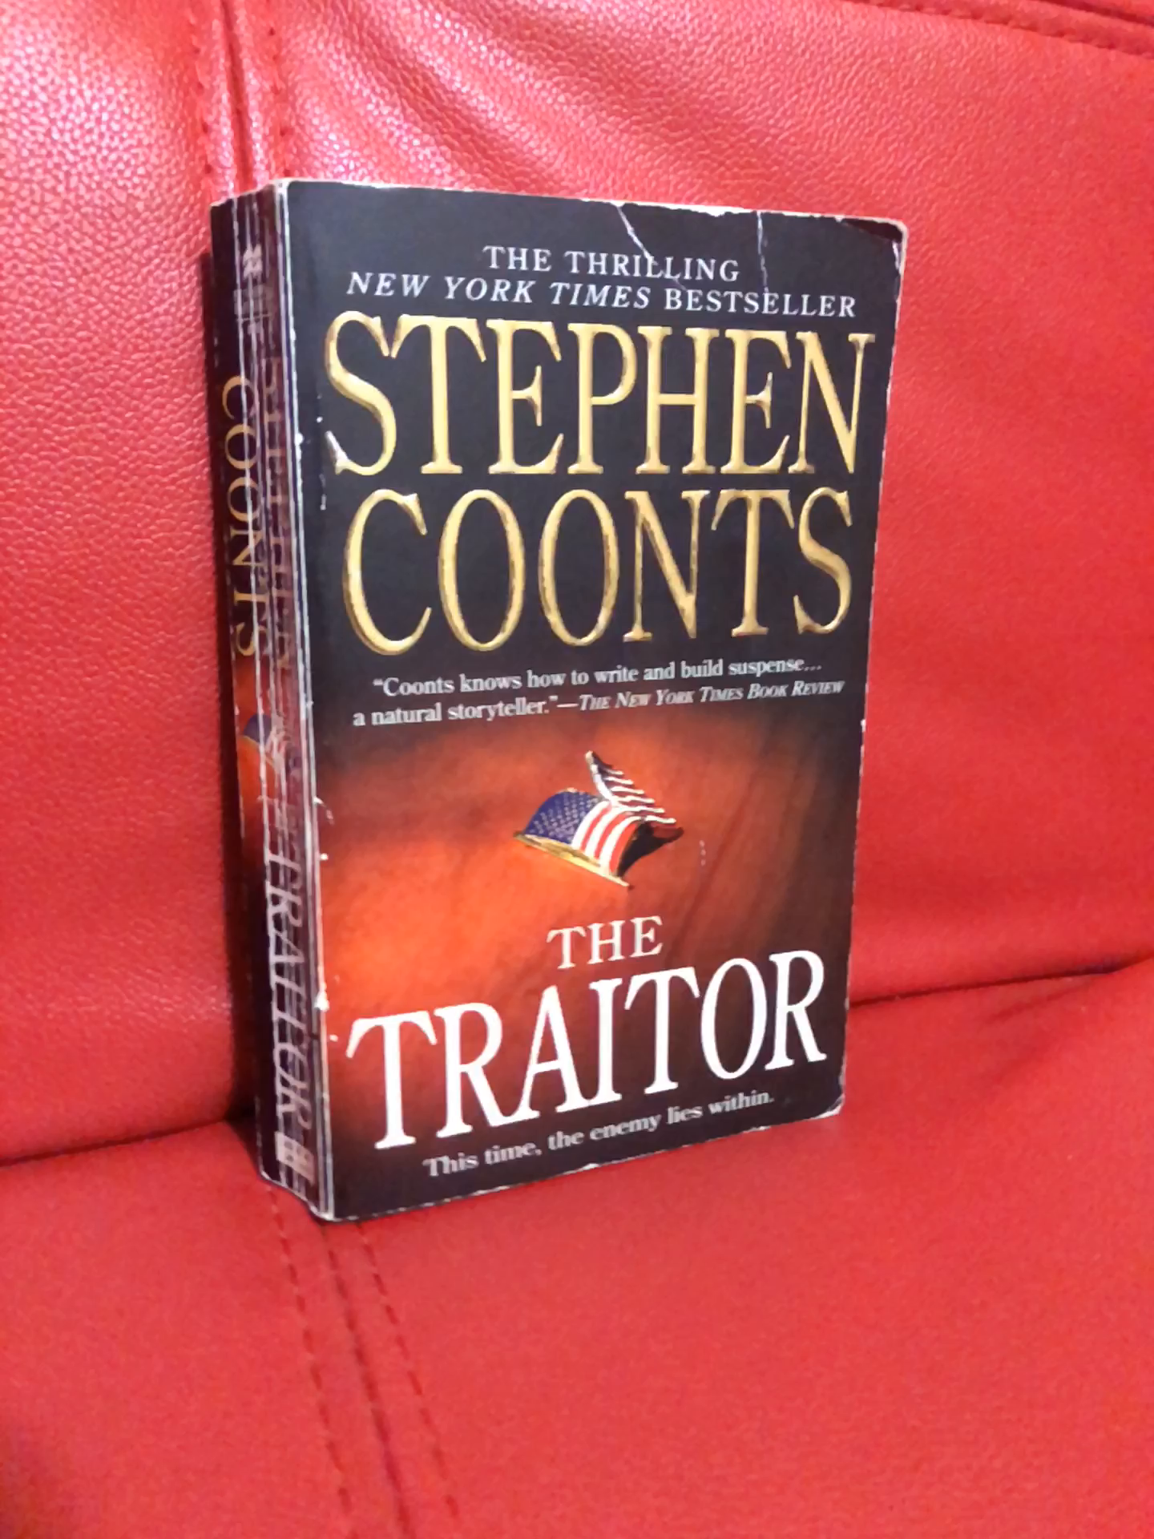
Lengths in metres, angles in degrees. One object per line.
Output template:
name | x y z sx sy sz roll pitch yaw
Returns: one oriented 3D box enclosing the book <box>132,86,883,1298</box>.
book | -0.009 -0.013 0.233 0.120 0.180 0.040 -5 11 -24
